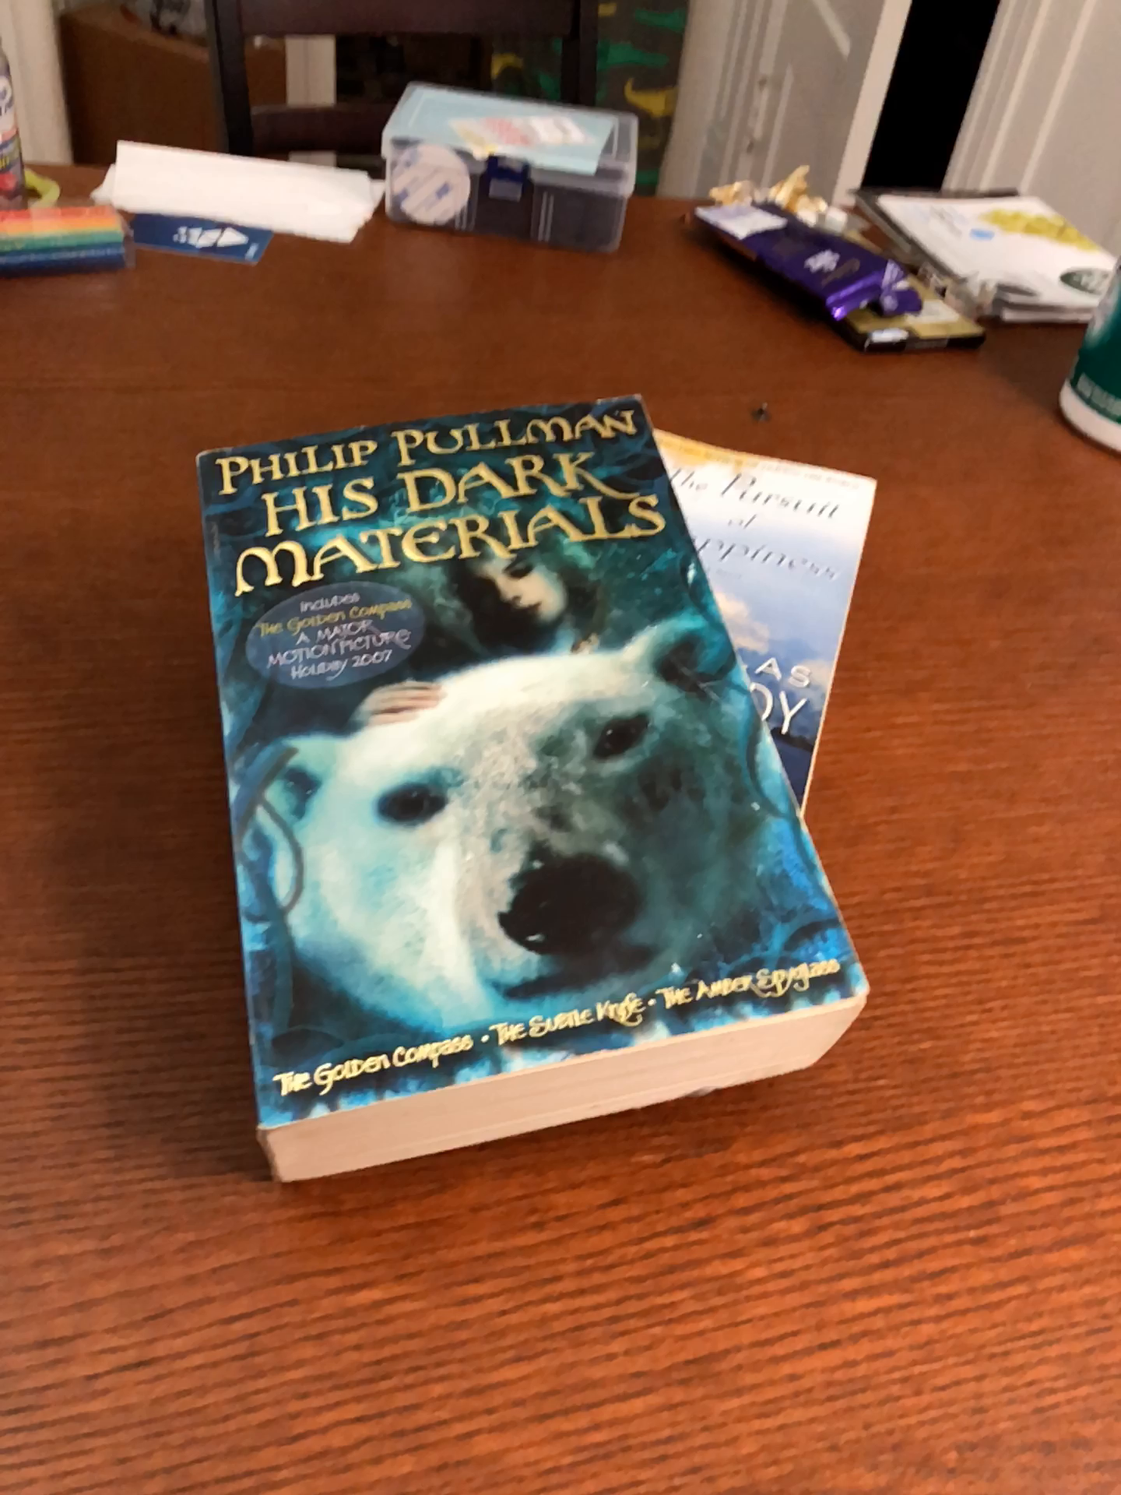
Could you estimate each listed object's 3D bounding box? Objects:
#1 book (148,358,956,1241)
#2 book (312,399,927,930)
[{"bbox_3d":[-0.020,-0.005,0.364,0.170,0.060,0.241,-9,57,-12],"label":"book"},{"bbox_3d":[0.038,-0.053,0.492,0.170,0.040,0.241,15,45,15],"label":"book"}]
